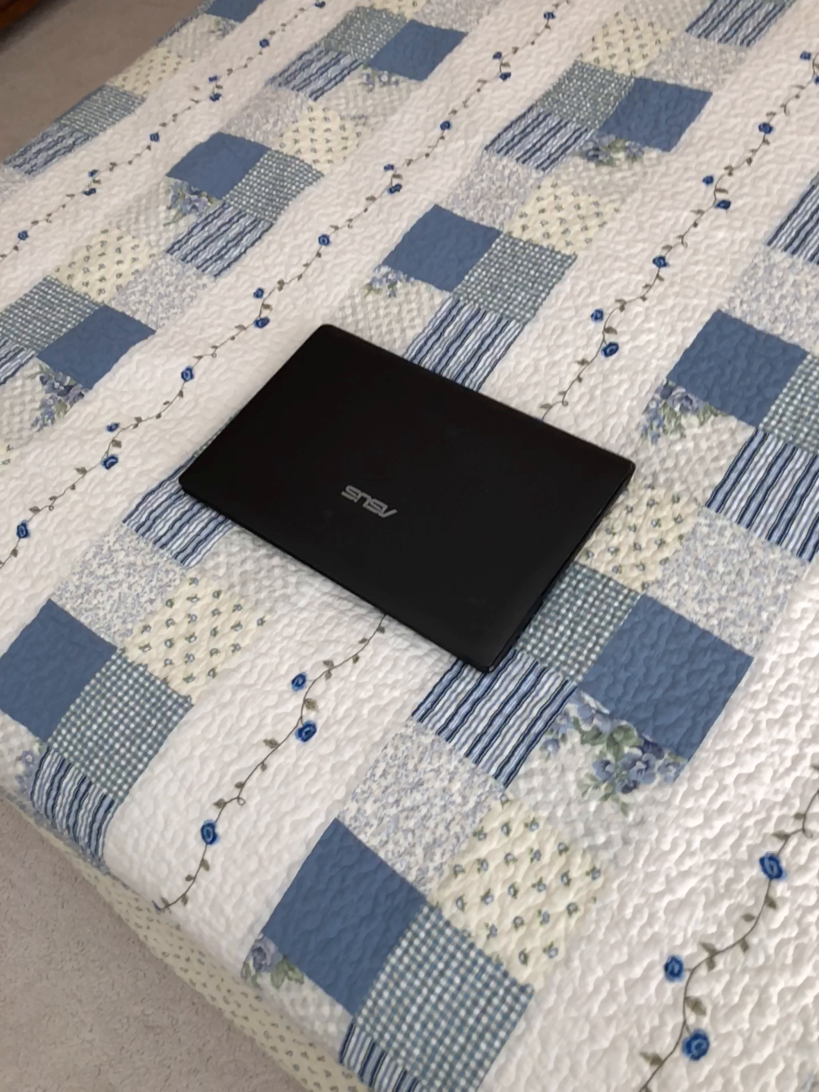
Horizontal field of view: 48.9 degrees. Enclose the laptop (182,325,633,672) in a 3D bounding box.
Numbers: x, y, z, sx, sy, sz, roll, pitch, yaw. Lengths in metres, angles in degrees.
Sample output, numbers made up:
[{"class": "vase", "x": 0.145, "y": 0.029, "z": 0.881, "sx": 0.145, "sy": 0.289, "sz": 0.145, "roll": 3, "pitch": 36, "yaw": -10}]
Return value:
[{"class": "laptop", "x": -0.011, "y": -0.067, "z": 0.856, "sx": 0.369, "sy": 0.006, "sz": 0.235, "roll": 29, "pitch": 69, "yaw": 25}]
